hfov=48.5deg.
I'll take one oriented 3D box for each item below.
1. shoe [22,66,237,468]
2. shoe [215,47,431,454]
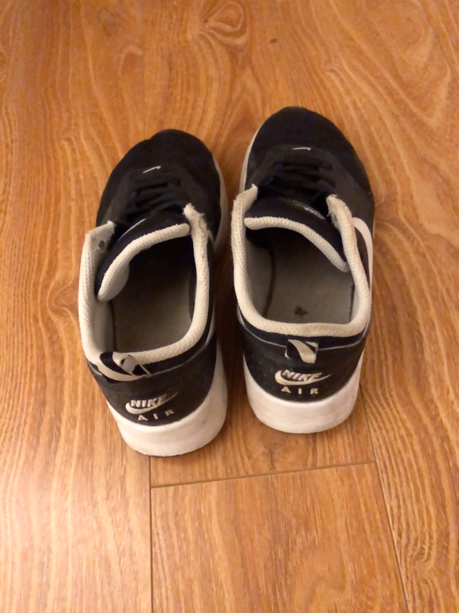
[{"bbox_3d":[-0.047,-0.029,0.309,0.090,0.080,0.231,-3,63,3],"label":"shoe"},{"bbox_3d":[0.048,-0.040,0.302,0.090,0.080,0.231,1,64,5],"label":"shoe"}]
